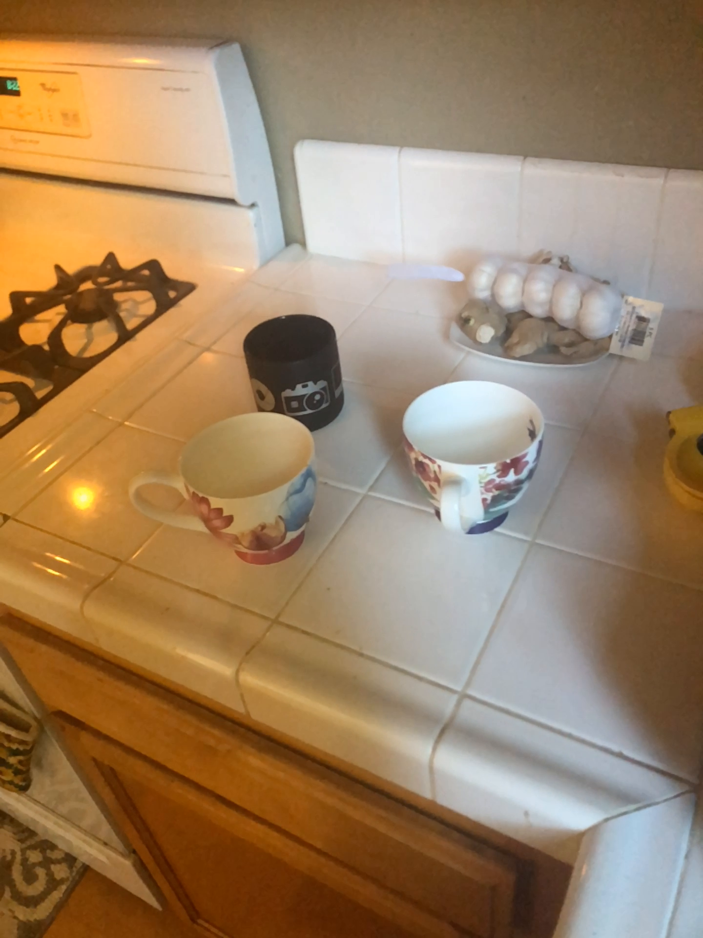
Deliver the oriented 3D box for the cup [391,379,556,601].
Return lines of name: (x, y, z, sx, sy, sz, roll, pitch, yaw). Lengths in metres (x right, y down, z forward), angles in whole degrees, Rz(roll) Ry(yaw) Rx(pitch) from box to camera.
cup: (0.099, 0.011, 0.604, 0.110, 0.089, 0.151, 2, 42, 12)

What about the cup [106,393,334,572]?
cup: (-0.095, 0.010, 0.615, 0.150, 0.079, 0.111, -4, 41, 5)

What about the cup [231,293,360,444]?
cup: (-0.057, -0.103, 0.774, 0.110, 0.069, 0.141, -8, 41, -1)
